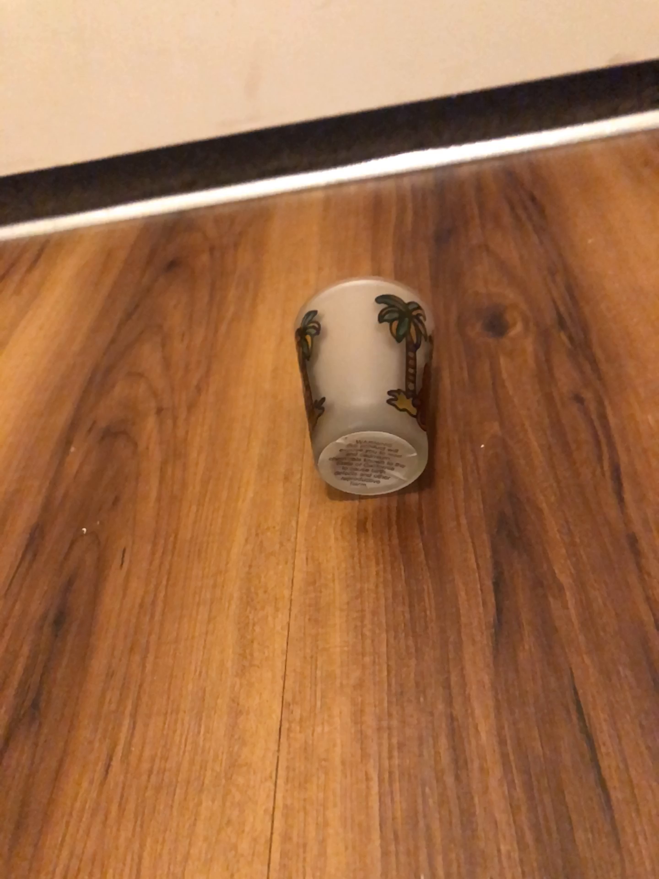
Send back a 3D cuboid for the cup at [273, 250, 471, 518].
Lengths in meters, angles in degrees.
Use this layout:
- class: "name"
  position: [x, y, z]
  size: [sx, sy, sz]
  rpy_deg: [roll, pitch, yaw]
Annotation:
- class: "cup"
  position: [0.014, -0.019, 0.235]
  size: [0.050, 0.045, 0.070]
  rpy_deg: [-7, 43, 9]
